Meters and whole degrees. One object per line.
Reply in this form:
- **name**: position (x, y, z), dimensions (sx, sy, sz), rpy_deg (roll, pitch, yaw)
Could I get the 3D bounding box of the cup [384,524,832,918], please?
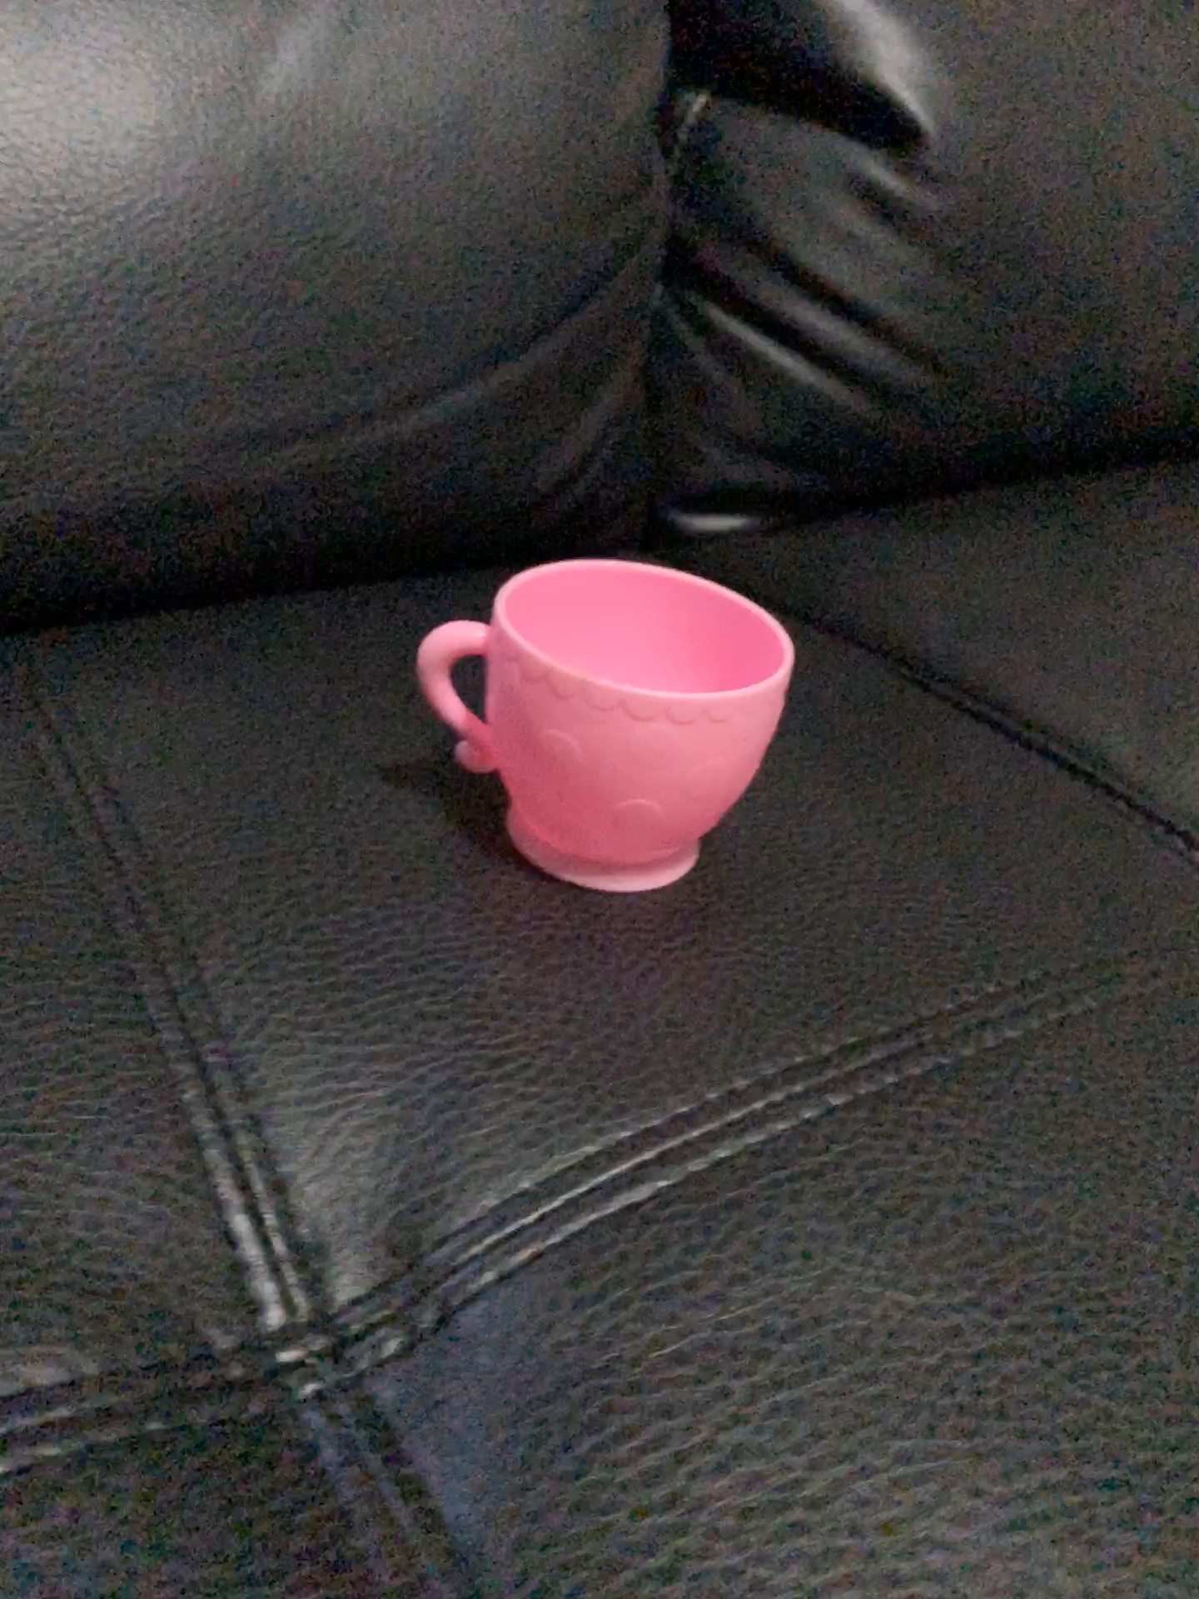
- **cup**: position (0.002, -0.018, 0.256), dimensions (0.077, 0.045, 0.061), rpy_deg (9, 33, 1)
